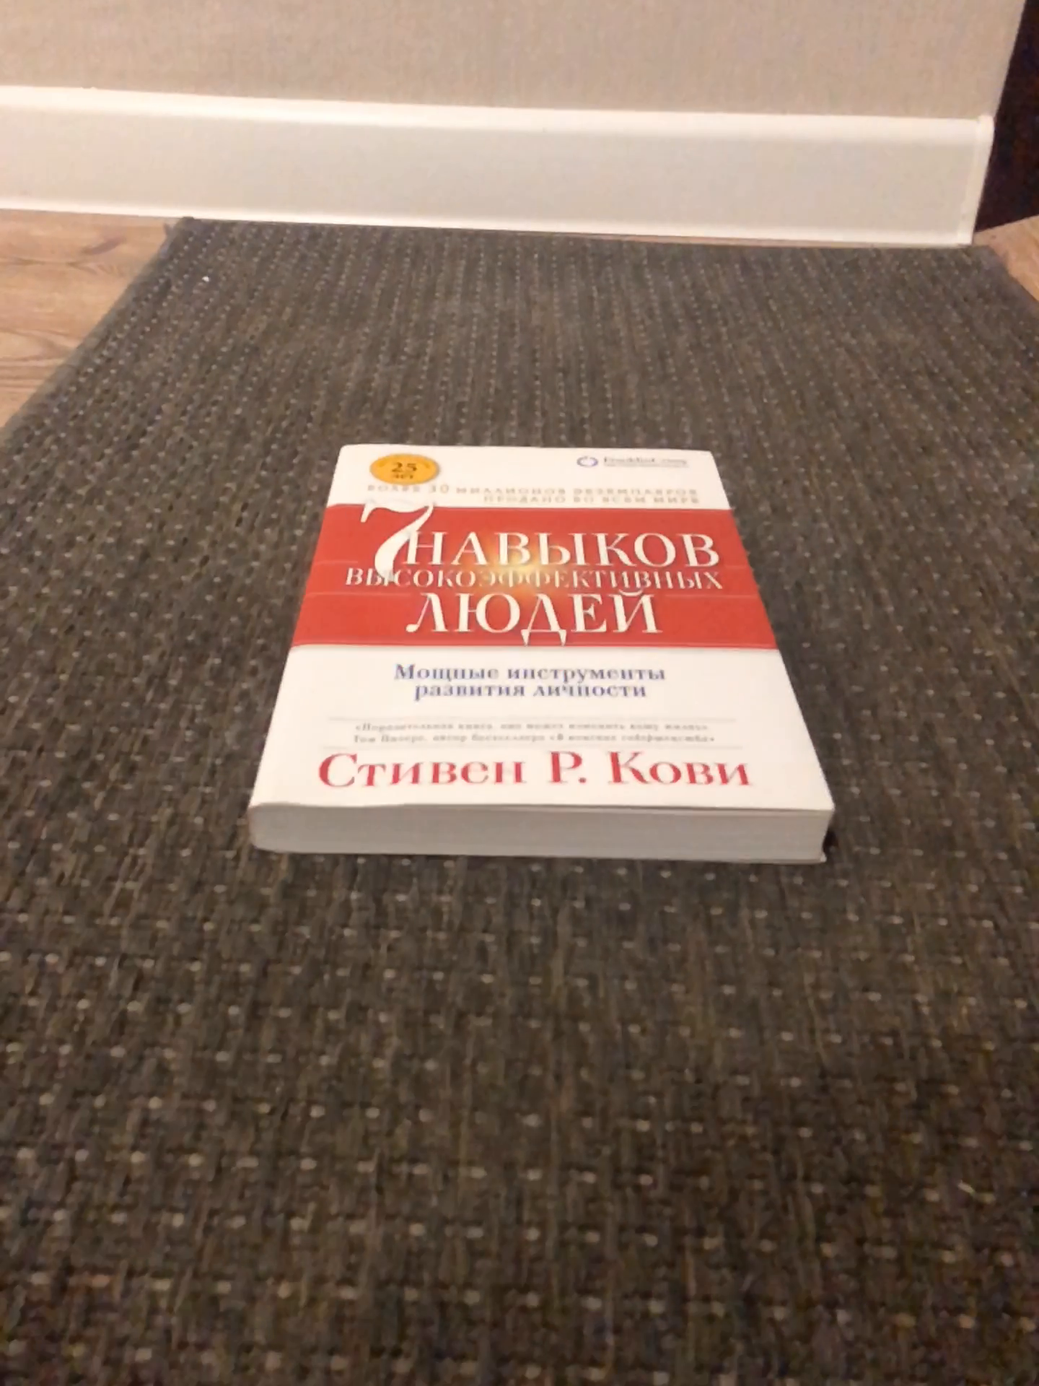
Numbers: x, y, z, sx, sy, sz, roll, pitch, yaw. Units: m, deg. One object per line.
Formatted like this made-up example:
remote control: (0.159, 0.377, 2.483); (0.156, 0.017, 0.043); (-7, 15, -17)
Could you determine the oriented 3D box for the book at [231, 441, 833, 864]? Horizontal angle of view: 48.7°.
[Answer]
book: (0.004, -0.031, 0.417); (0.166, 0.020, 0.237); (1, 37, 0)
